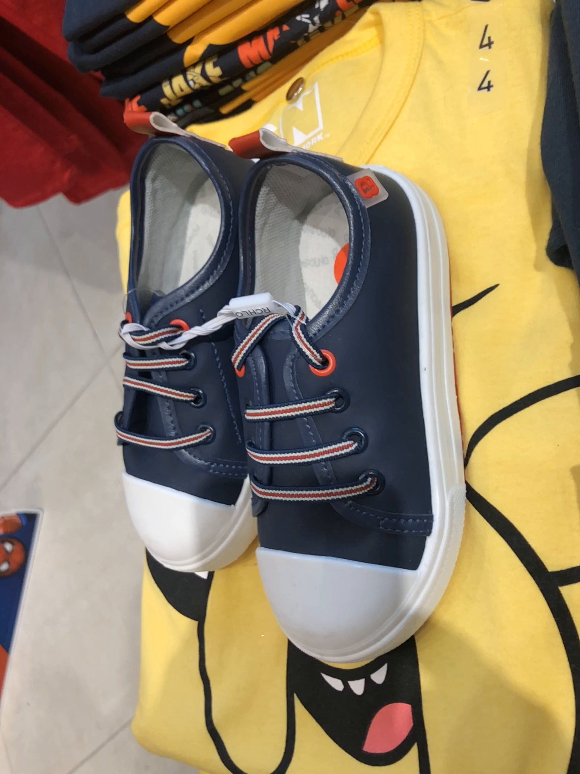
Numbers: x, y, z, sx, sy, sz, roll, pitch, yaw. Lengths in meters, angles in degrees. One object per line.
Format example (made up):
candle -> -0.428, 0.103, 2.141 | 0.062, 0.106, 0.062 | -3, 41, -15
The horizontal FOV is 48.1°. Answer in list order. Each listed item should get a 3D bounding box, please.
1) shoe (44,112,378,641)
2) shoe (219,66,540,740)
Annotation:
shoe -> -0.031, -0.006, 0.247 | 0.080, 0.070, 0.160 | 11, 94, 38
shoe -> 0.031, 0.004, 0.216 | 0.080, 0.070, 0.170 | -2, 87, 37
